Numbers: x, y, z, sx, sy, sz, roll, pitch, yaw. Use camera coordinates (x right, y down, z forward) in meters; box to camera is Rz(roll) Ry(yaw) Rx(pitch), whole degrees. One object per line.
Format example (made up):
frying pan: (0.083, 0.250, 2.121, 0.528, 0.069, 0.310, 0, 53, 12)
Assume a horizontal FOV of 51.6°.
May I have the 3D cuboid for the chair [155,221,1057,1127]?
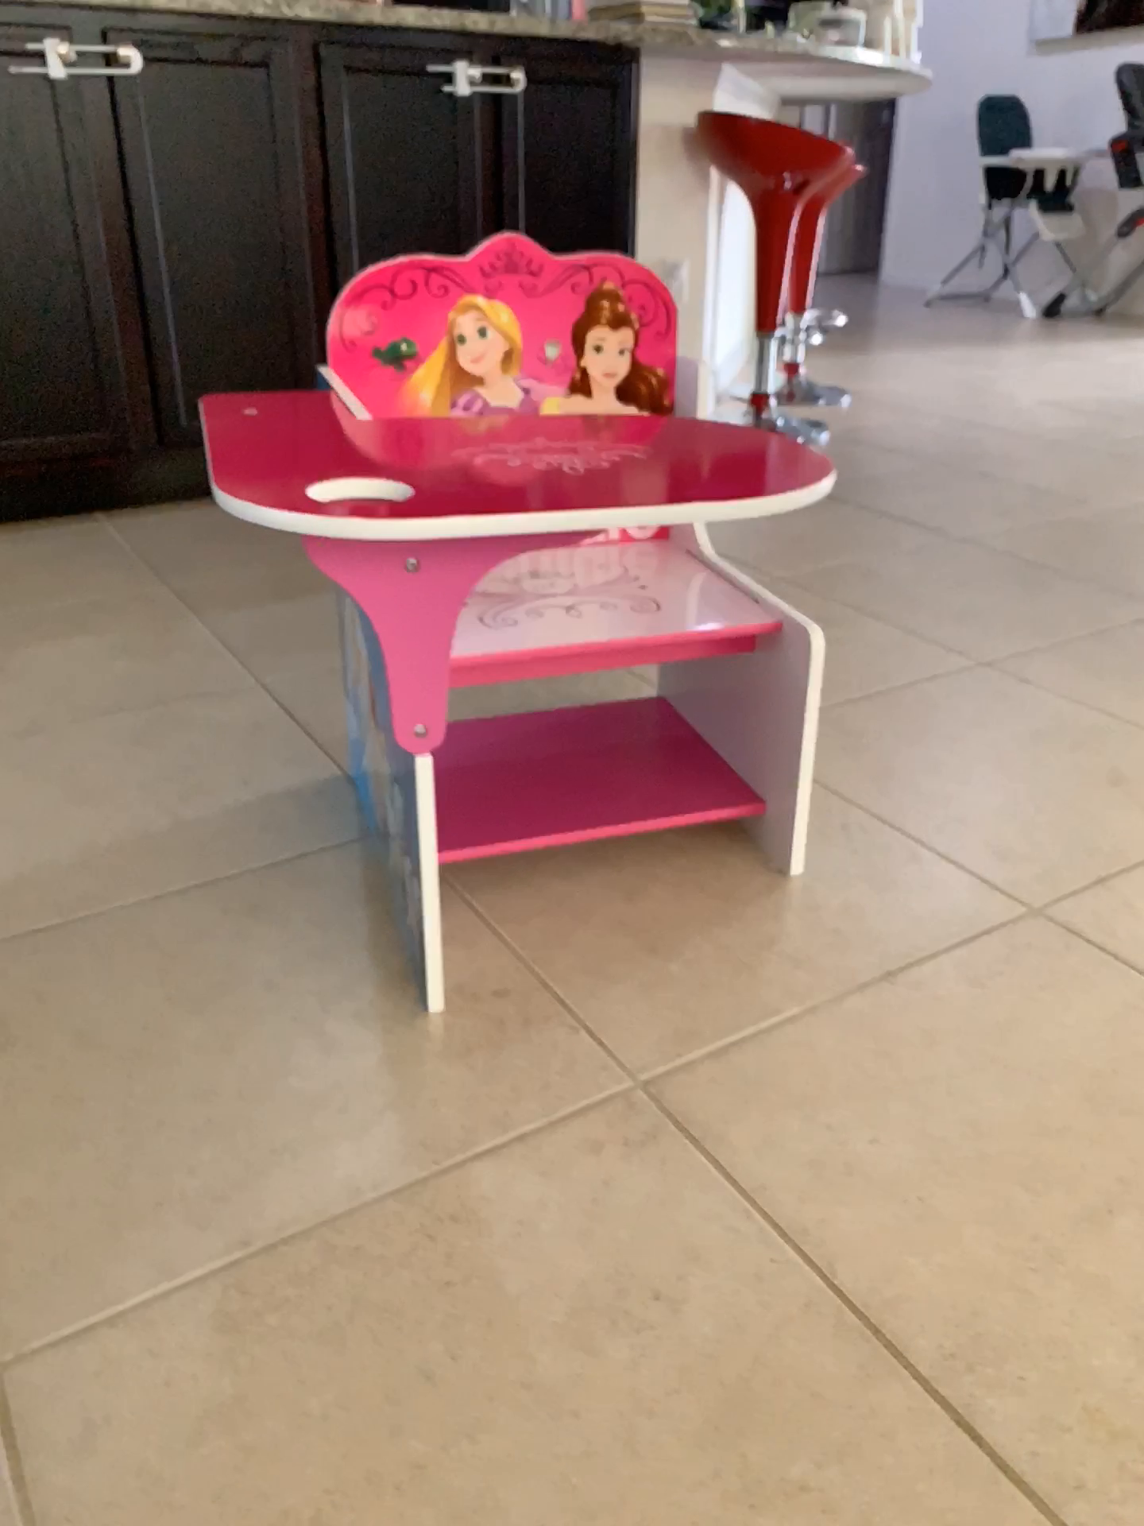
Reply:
chair: (-0.034, -0.152, 1.032, 0.532, 0.567, 0.553, -8, 27, -19)
